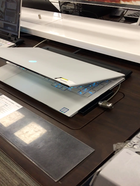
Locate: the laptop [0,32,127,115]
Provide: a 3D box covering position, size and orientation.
[{"bbox_3d":[-0.077,-0.094,0.614,0.399,0.102,0.237,27,50,36],"label":"laptop"}]
